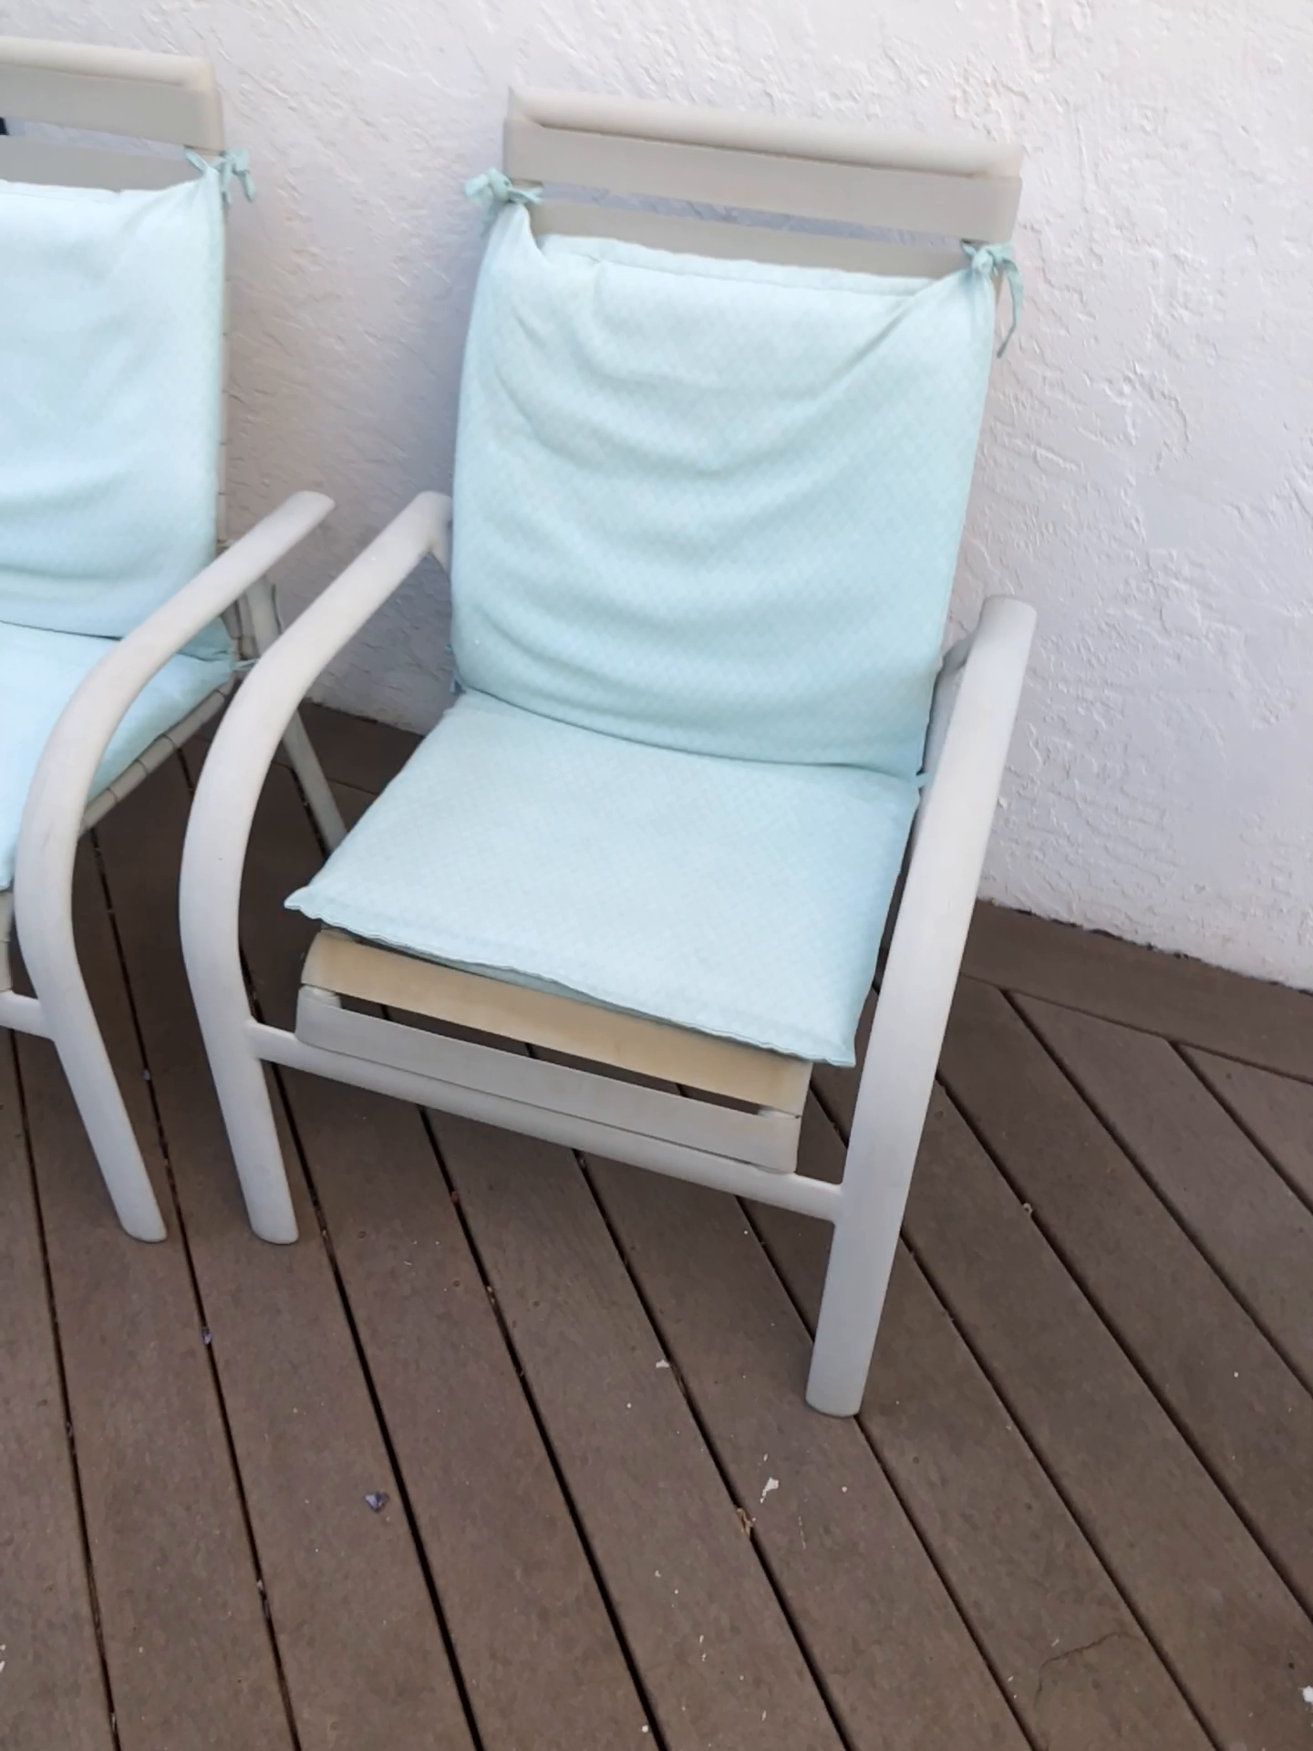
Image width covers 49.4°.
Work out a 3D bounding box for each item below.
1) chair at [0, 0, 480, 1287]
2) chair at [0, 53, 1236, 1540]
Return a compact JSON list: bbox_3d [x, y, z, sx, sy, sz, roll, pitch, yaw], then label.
[{"bbox_3d":[-0.705,-0.249,1.504,0.700,0.965,0.784,14,47,13],"label":"chair"},{"bbox_3d":[0.012,-0.053,1.620,0.840,1.273,0.874,14,47,13],"label":"chair"}]
